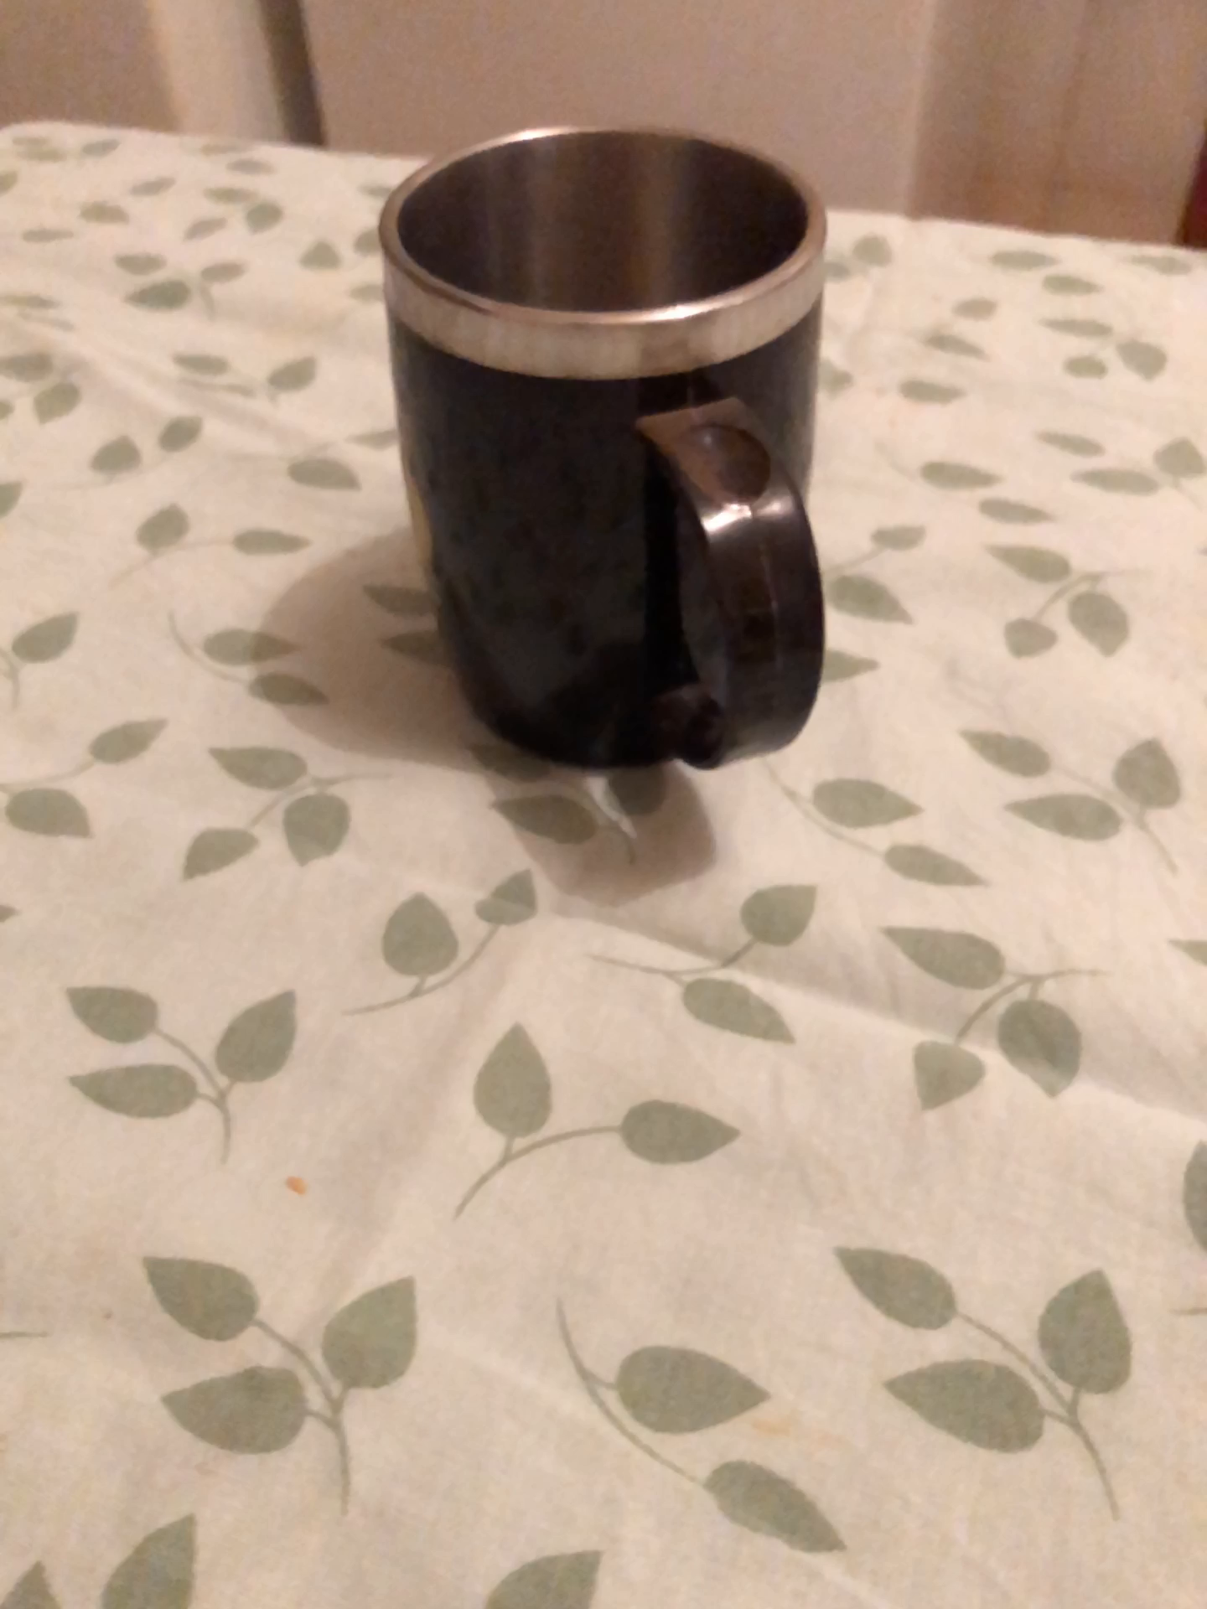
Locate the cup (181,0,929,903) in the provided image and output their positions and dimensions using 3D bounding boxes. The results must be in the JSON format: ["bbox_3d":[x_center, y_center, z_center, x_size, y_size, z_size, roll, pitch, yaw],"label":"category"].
[{"bbox_3d":[-0.015,-0.078,0.289,0.090,0.119,0.131,-20,50,-15],"label":"cup"}]
